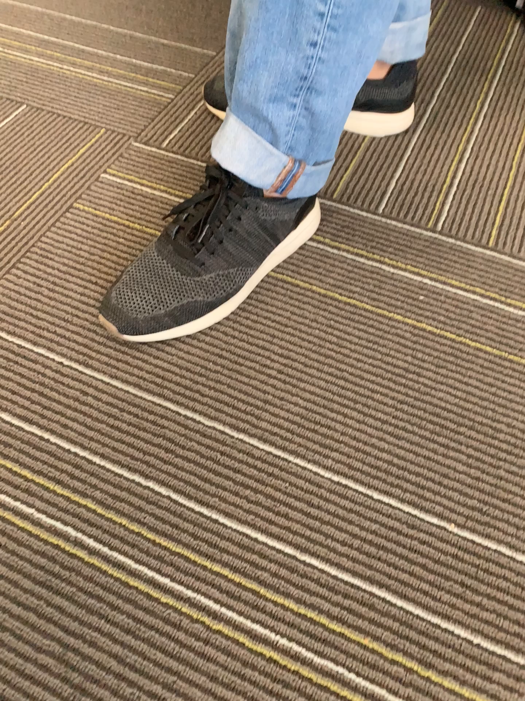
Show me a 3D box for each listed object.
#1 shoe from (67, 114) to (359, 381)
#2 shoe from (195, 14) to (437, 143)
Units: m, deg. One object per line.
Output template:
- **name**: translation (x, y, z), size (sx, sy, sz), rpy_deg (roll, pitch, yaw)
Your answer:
- **shoe**: translation (-0.040, -0.123, 0.596), size (0.112, 0.106, 0.307), rpy_deg (38, 65, 22)
- **shoe**: translation (0.072, -0.381, 0.758), size (0.306, 0.106, 0.111), rpy_deg (5, 57, 3)
